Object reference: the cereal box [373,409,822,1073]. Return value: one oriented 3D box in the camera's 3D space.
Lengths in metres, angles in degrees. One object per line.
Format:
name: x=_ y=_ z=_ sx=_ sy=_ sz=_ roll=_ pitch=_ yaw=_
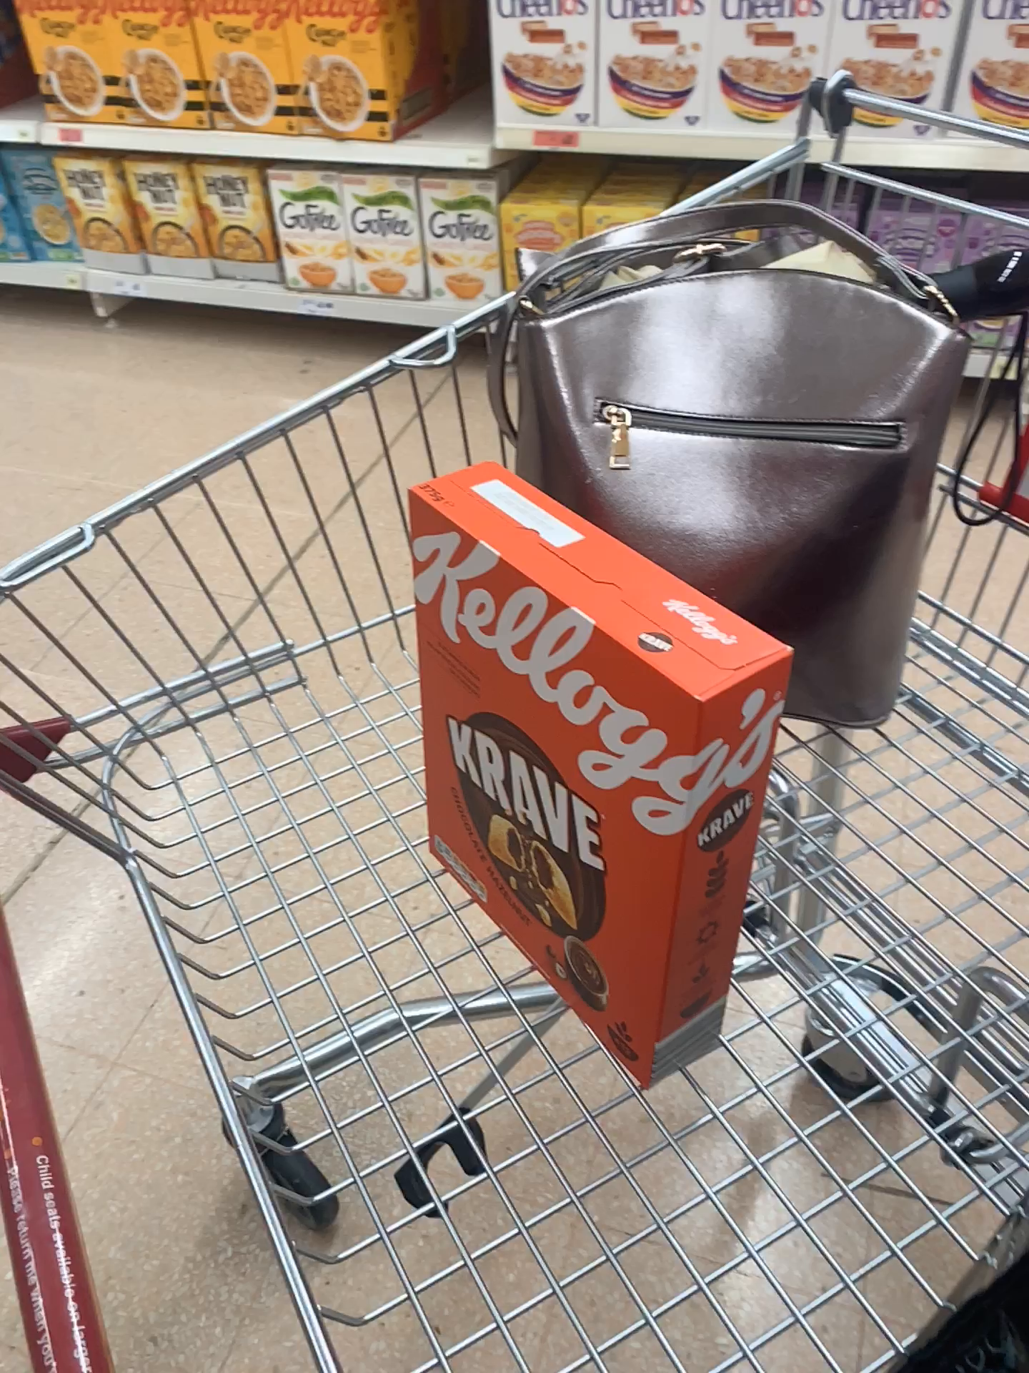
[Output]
cereal box: x=0.021 y=0.023 z=0.481 sx=0.050 sy=0.228 sz=0.211 roll=-25 pitch=45 yaw=-28
